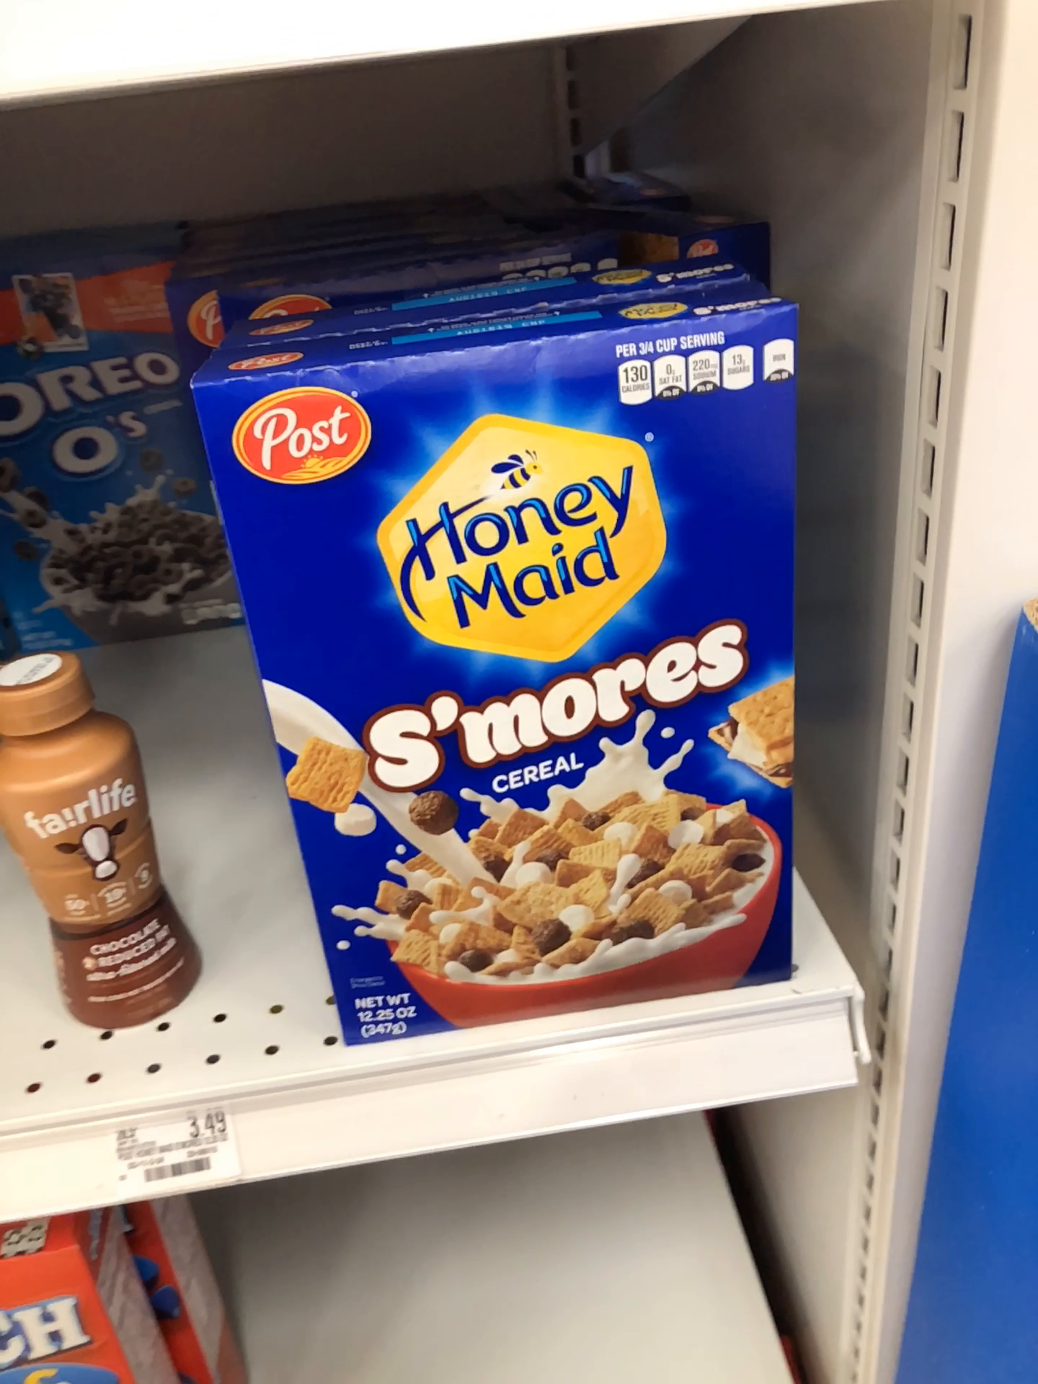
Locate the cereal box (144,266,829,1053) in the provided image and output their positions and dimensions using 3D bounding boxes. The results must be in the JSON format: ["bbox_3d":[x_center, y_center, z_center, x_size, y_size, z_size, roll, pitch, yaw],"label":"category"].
[{"bbox_3d":[0.001,-0.001,0.431,0.200,0.269,0.070,-8,30,-2],"label":"cereal box"}]
